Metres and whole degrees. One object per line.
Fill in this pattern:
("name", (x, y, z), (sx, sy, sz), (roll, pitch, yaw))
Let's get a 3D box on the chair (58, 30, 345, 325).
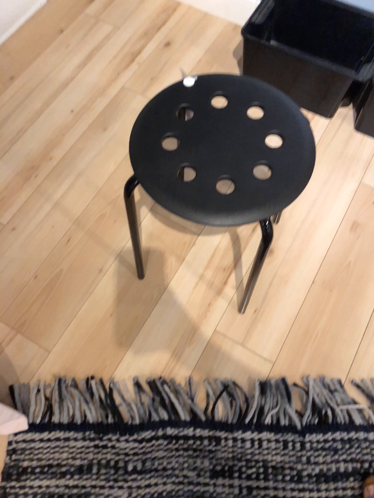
("chair", (0.040, -0.125, 0.885), (0.380, 0.400, 0.370), (20, 68, 9))
